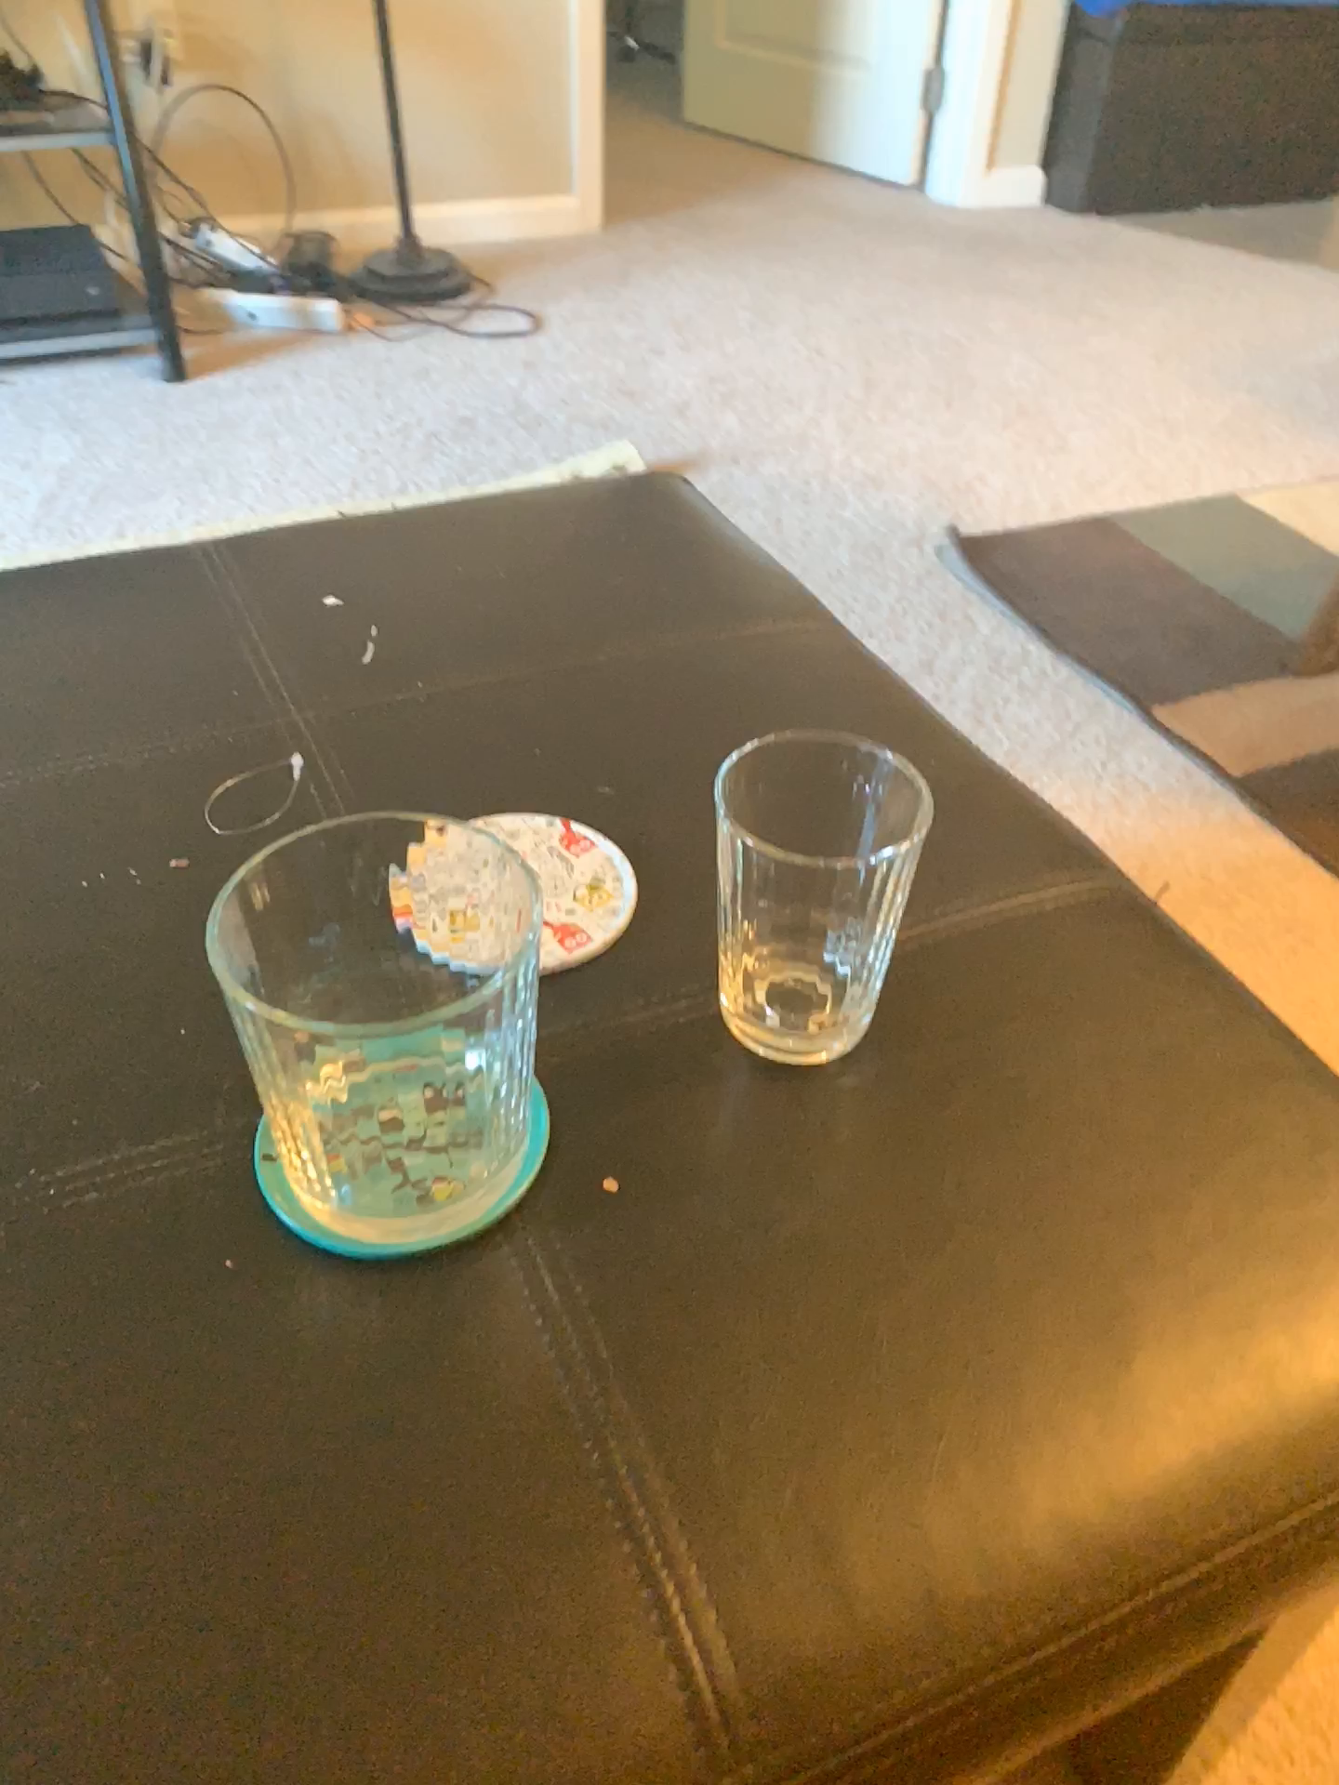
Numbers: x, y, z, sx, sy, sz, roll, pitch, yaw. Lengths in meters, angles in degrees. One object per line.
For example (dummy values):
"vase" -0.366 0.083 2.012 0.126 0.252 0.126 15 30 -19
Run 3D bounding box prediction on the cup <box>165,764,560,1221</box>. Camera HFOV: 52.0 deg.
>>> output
"cup" -0.075 0.027 0.374 0.080 0.089 0.080 1 39 -1

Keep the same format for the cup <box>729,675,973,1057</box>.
"cup" 0.050 -0.008 0.419 0.060 0.089 0.070 3 39 1
